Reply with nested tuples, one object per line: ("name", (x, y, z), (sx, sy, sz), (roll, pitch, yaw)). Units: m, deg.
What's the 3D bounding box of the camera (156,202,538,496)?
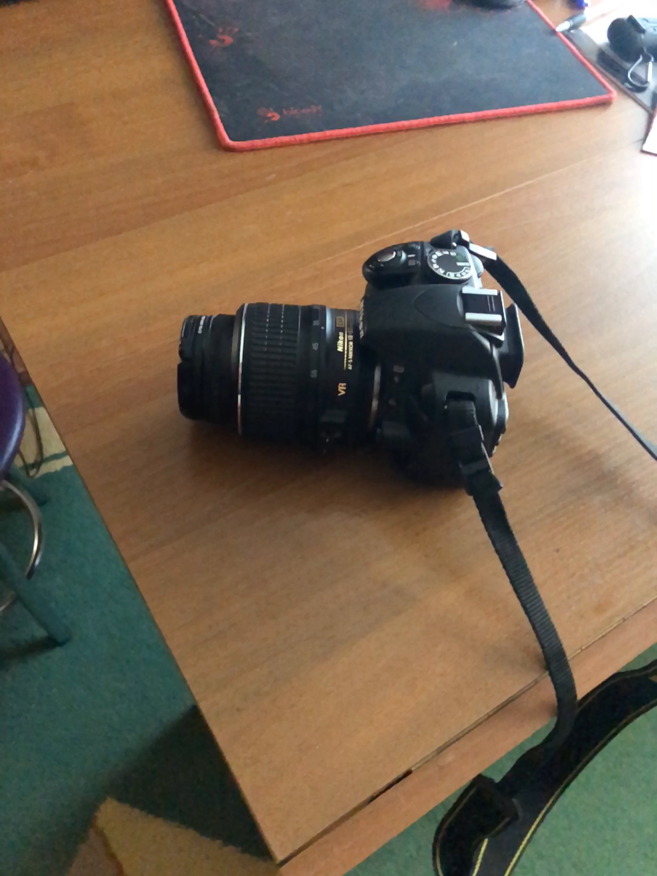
("camera", (0.007, -0.044, 0.369), (0.161, 0.078, 0.111), (4, 55, -3))
